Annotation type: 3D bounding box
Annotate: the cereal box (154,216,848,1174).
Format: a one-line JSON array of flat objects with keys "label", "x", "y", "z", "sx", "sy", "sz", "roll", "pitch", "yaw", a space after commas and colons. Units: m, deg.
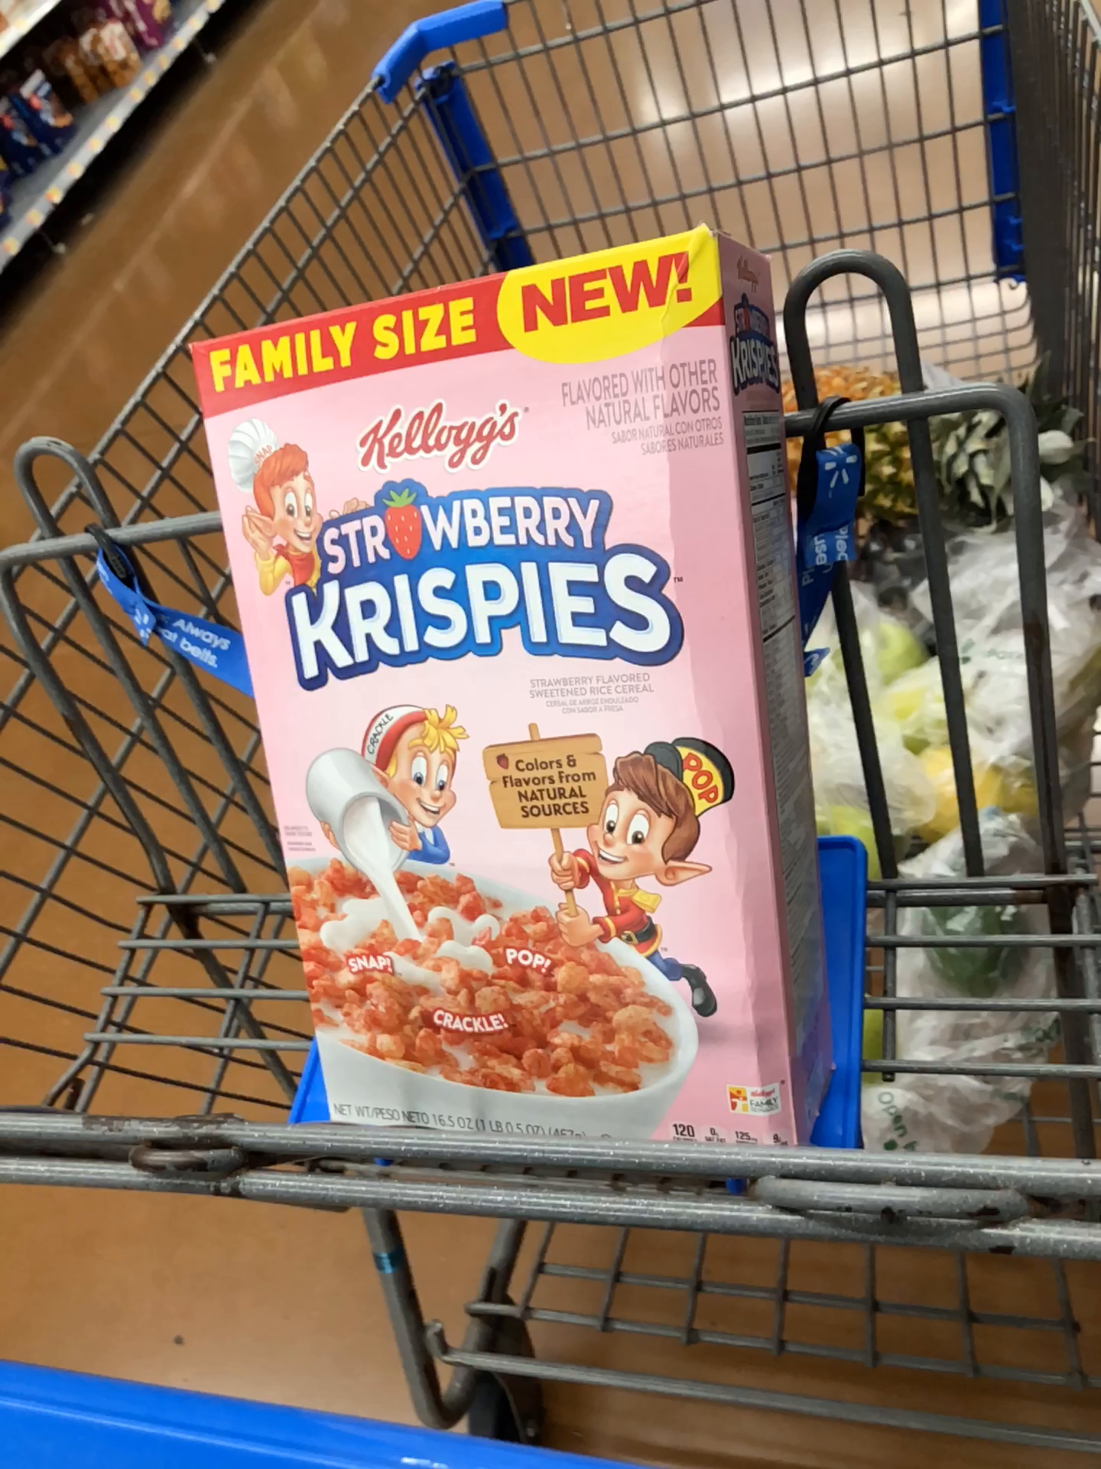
[{"label": "cereal box", "x": -0.012, "y": -0.006, "z": 0.438, "sx": 0.200, "sy": 0.290, "sz": 0.080, "roll": -3, "pitch": 10, "yaw": 22}]
